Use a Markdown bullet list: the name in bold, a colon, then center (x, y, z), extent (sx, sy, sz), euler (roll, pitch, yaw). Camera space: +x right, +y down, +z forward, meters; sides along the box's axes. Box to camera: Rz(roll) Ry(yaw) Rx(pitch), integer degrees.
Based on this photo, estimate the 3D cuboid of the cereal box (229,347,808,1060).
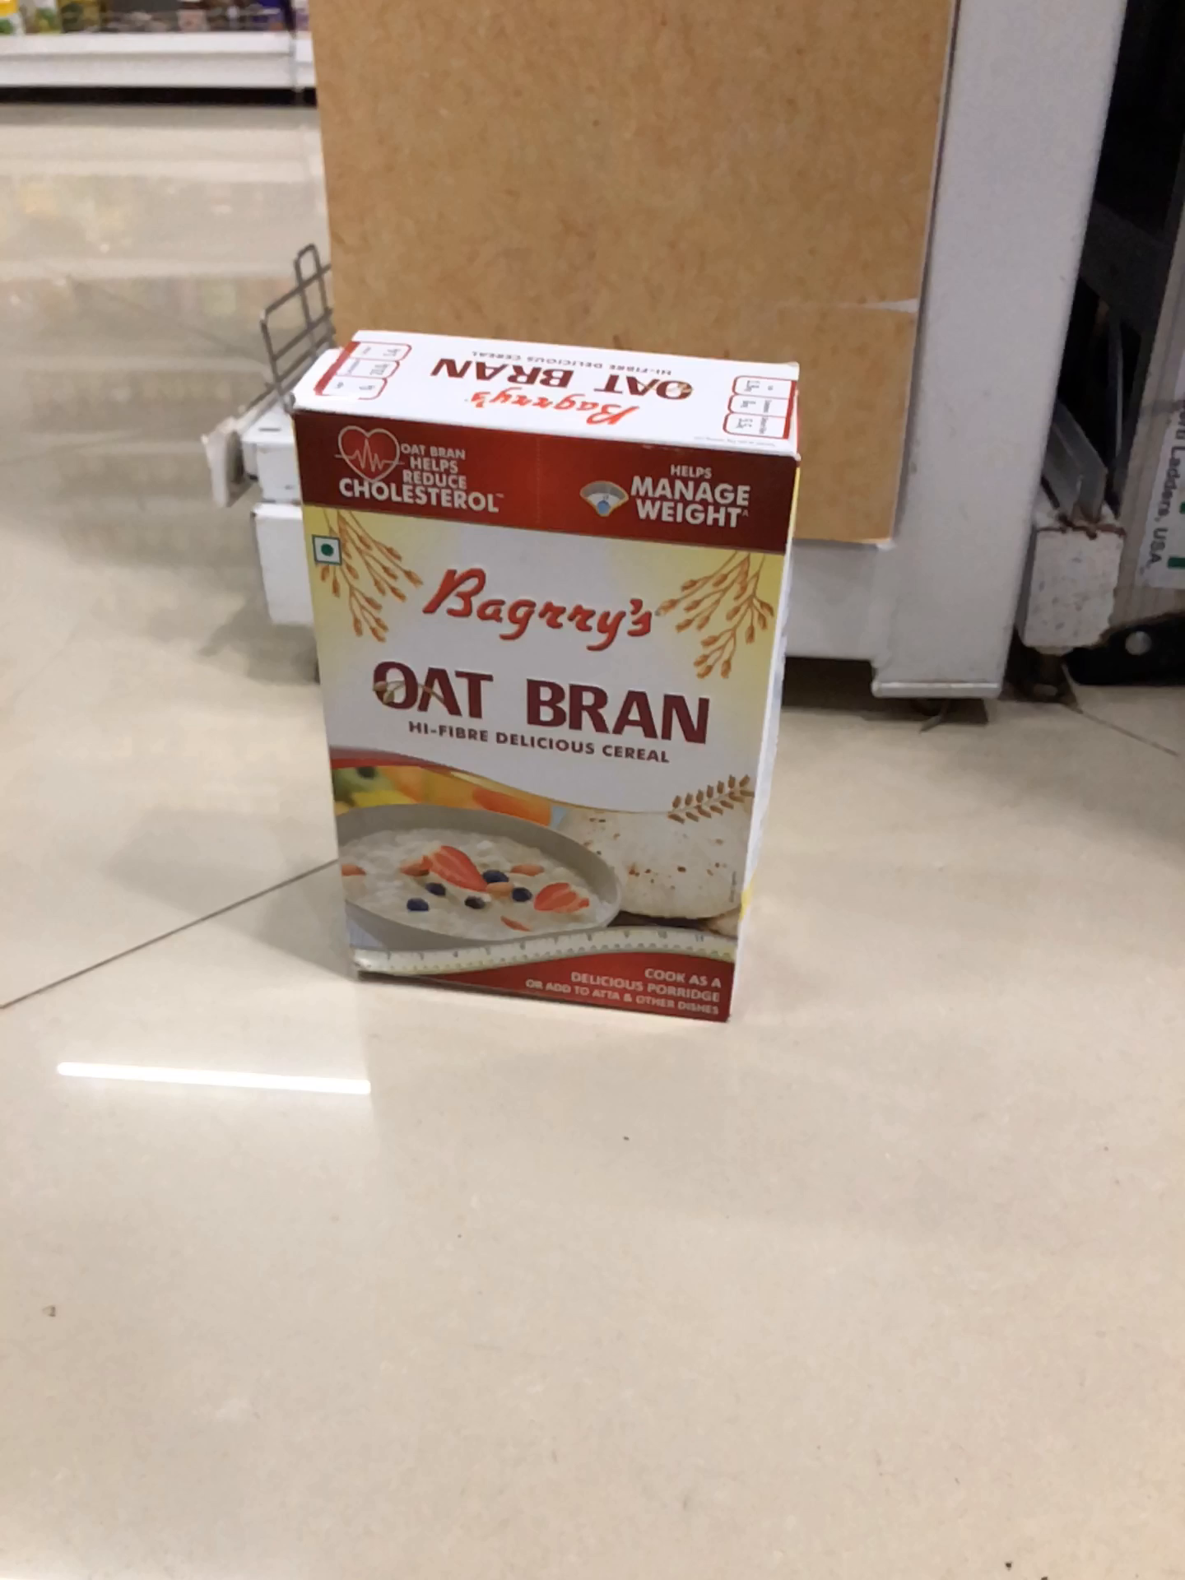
- **cereal box**: center (-0.018, -0.023, 0.421), extent (0.150, 0.209, 0.060), euler (7, 33, 11)
